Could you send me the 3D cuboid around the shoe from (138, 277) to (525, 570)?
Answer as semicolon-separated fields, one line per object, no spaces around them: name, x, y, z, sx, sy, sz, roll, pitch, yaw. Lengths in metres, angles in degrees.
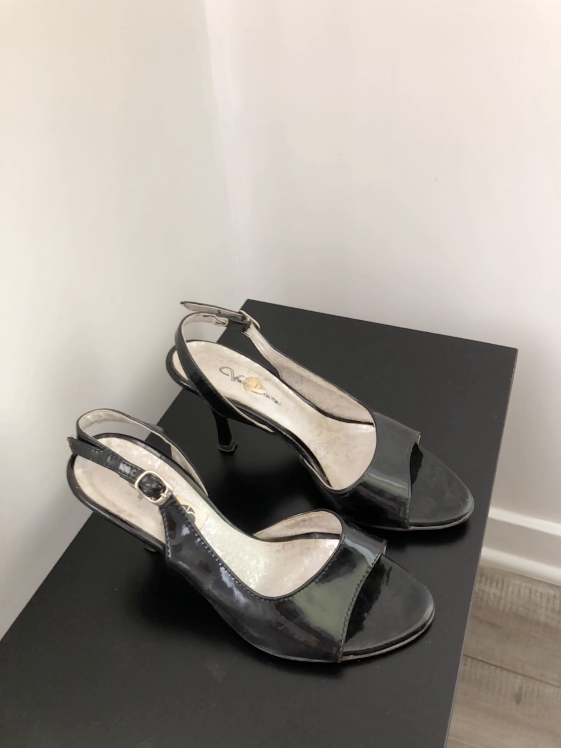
shoe;0.030;0.025;0.400;0.210;0.110;0.083;15;45;20

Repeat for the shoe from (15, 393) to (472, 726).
shoe;-0.015;0.097;0.342;0.210;0.110;0.084;10;44;15
